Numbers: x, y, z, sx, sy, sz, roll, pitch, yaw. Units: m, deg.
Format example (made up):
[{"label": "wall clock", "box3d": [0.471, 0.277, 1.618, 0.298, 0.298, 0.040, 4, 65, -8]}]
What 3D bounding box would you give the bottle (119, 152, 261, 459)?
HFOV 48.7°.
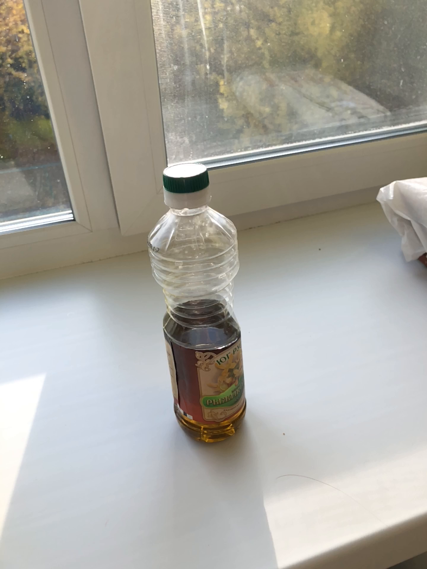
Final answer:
[{"label": "bottle", "box3d": [-0.011, 0.022, 0.357, 0.061, 0.218, 0.068, -25, 37, -29]}]
